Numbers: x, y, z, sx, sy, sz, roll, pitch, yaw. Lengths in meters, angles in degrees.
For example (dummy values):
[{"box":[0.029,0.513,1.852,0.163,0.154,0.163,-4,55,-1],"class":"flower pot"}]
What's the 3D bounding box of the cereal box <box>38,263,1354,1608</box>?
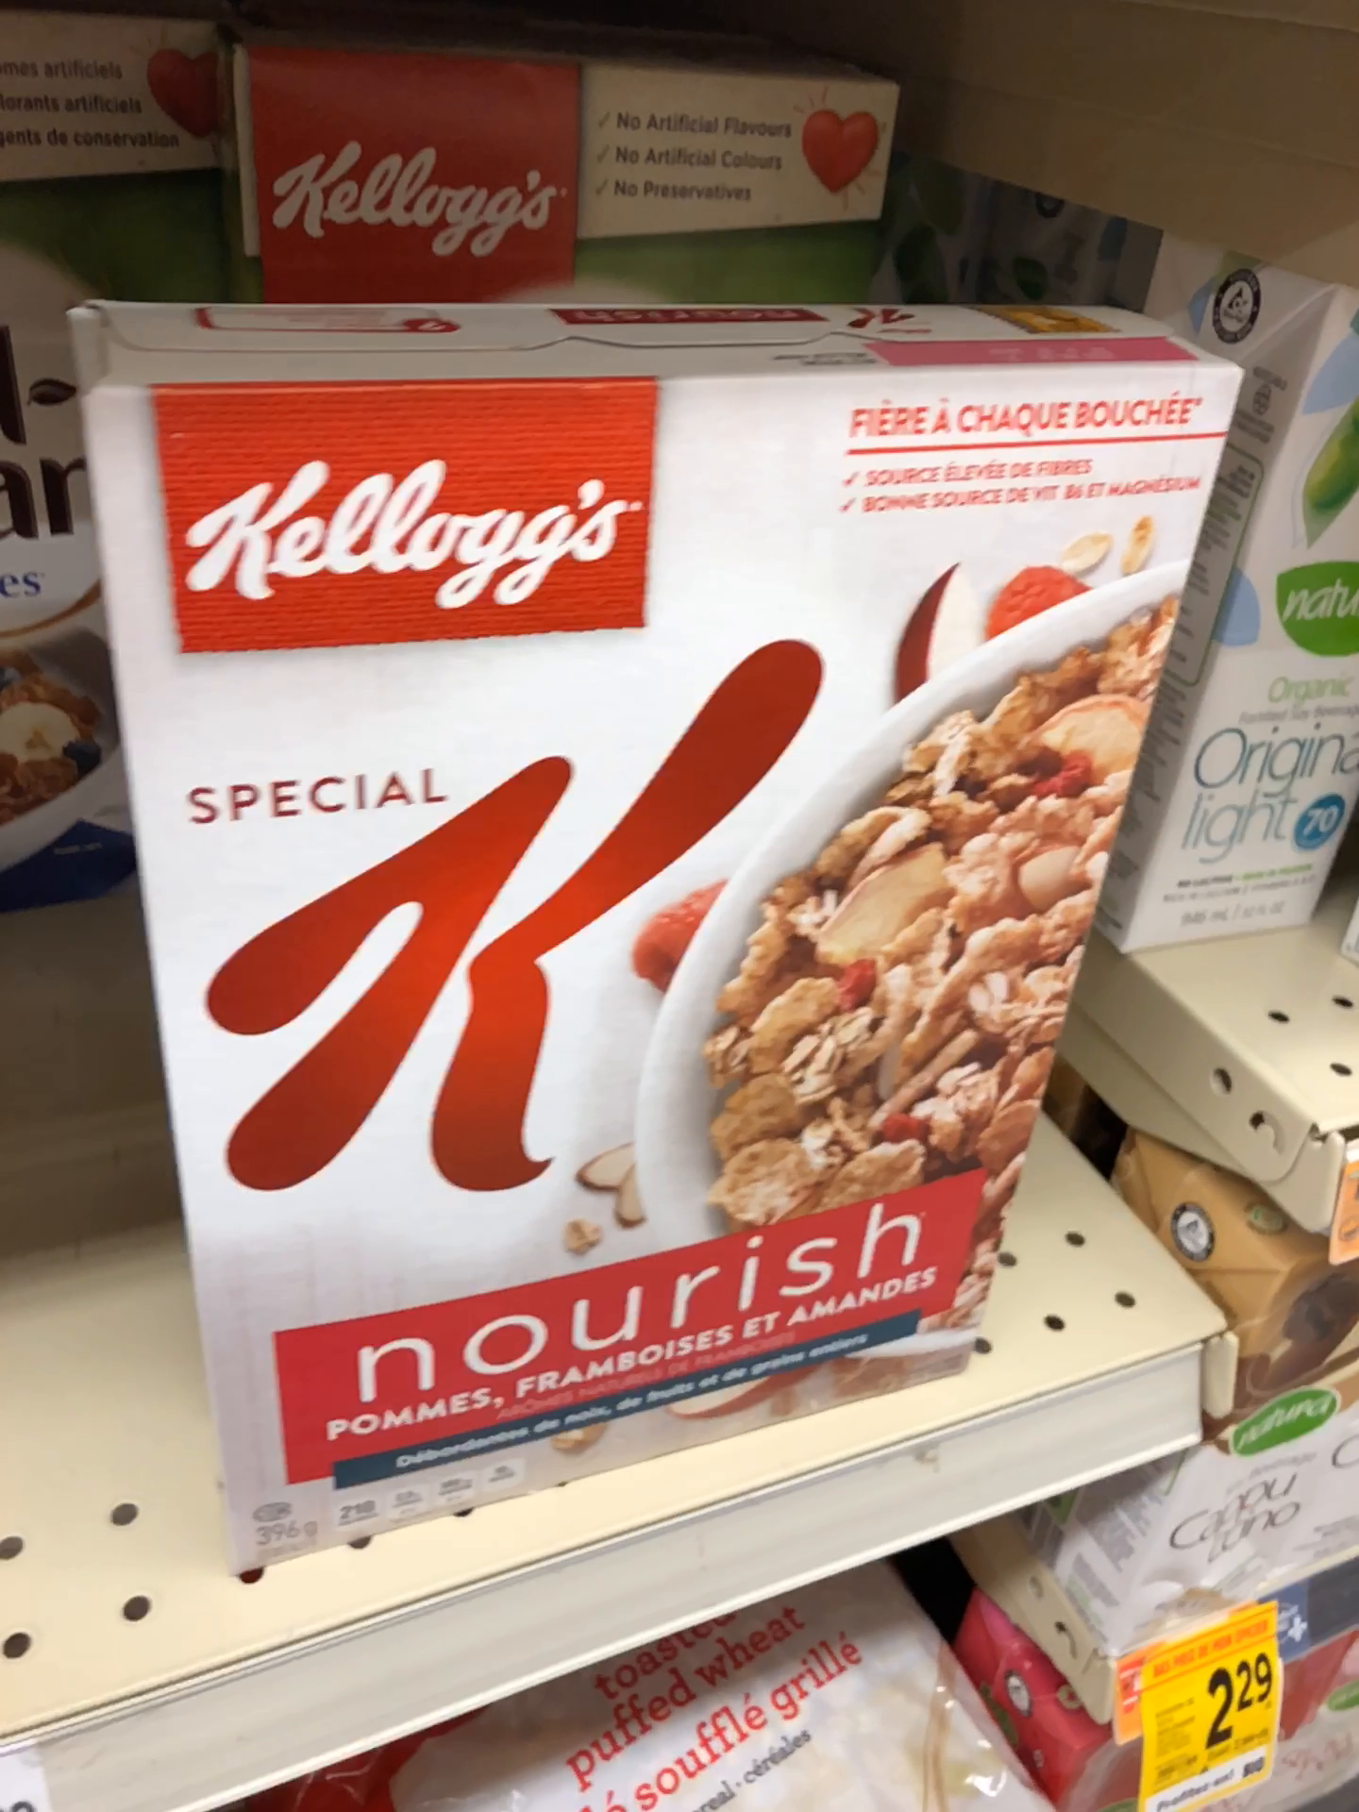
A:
[{"box":[-0.004,0.012,0.303,0.200,0.248,0.060,-7,35,-21],"class":"cereal box"}]
